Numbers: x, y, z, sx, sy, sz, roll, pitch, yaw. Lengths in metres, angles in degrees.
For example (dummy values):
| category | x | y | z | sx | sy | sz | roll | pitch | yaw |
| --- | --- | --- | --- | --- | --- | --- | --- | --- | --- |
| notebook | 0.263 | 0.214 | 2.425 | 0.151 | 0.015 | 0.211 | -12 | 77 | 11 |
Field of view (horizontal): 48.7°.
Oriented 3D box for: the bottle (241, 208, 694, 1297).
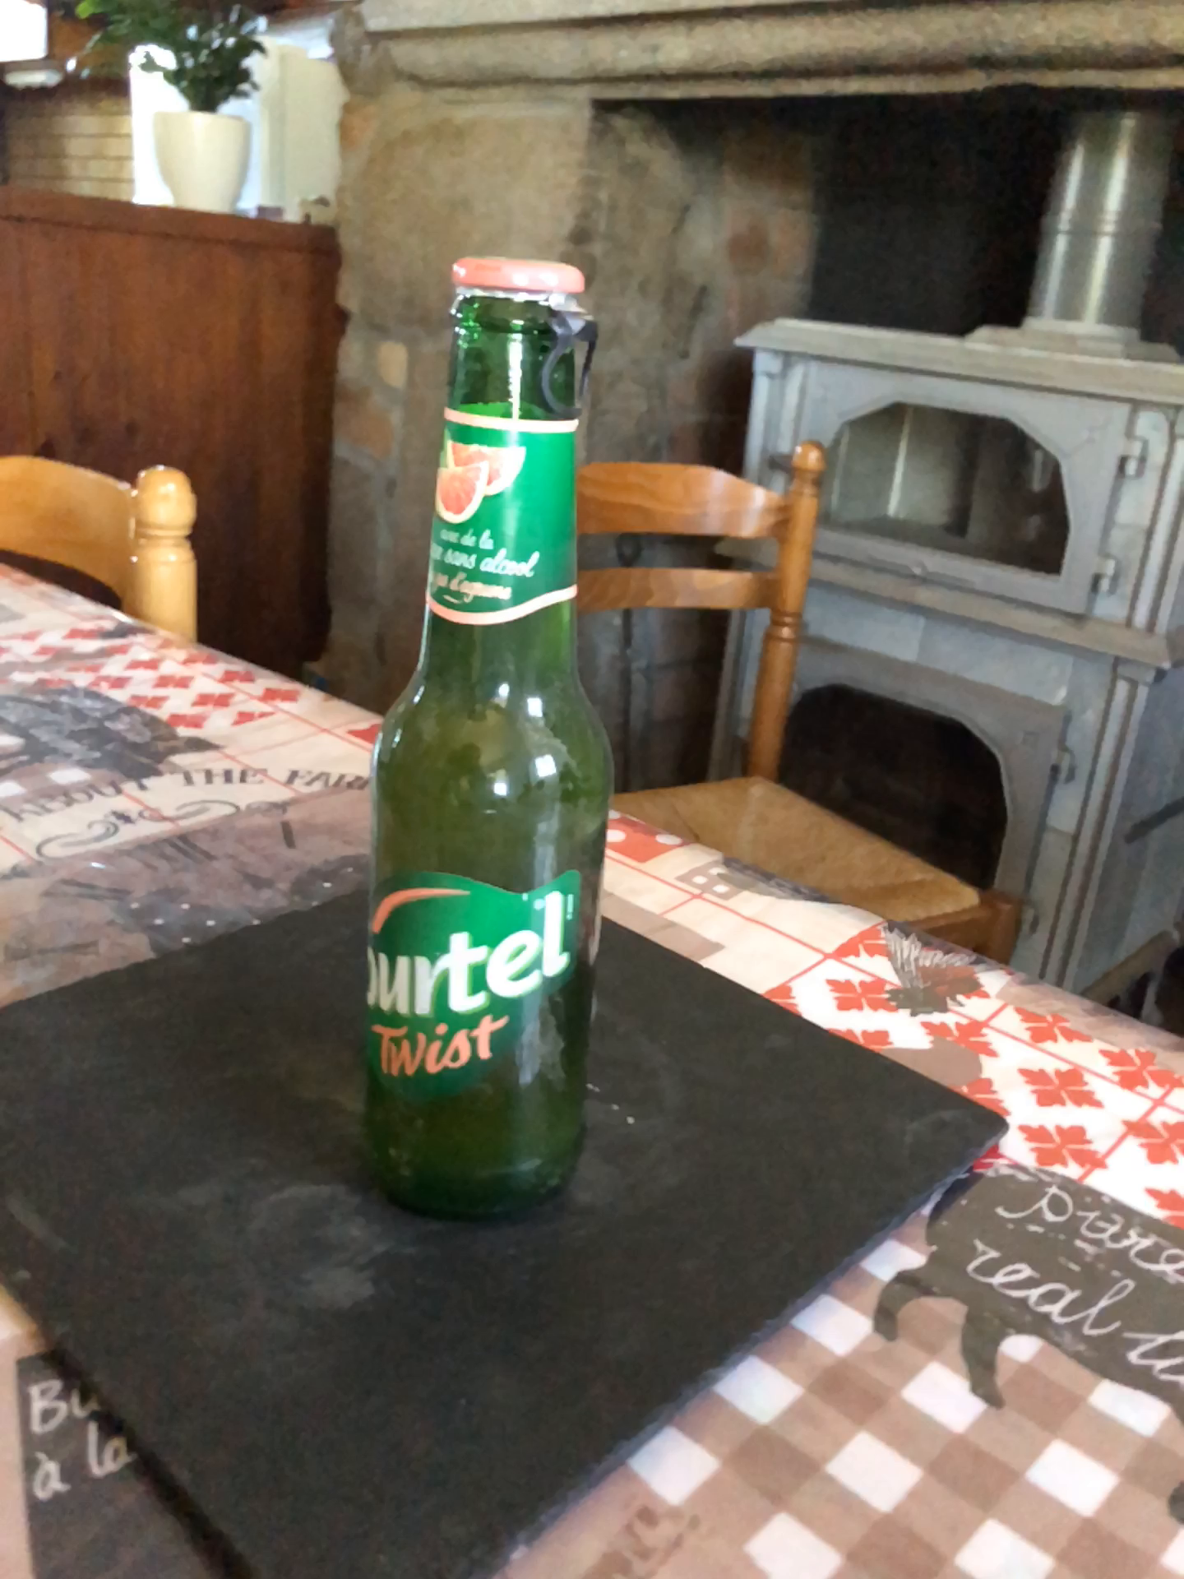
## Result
| category | x | y | z | sx | sy | sz | roll | pitch | yaw |
| --- | --- | --- | --- | --- | --- | --- | --- | --- | --- |
| bottle | -0.034 | -0.006 | 0.305 | 0.070 | 0.229 | 0.060 | 16 | 22 | 28 |
